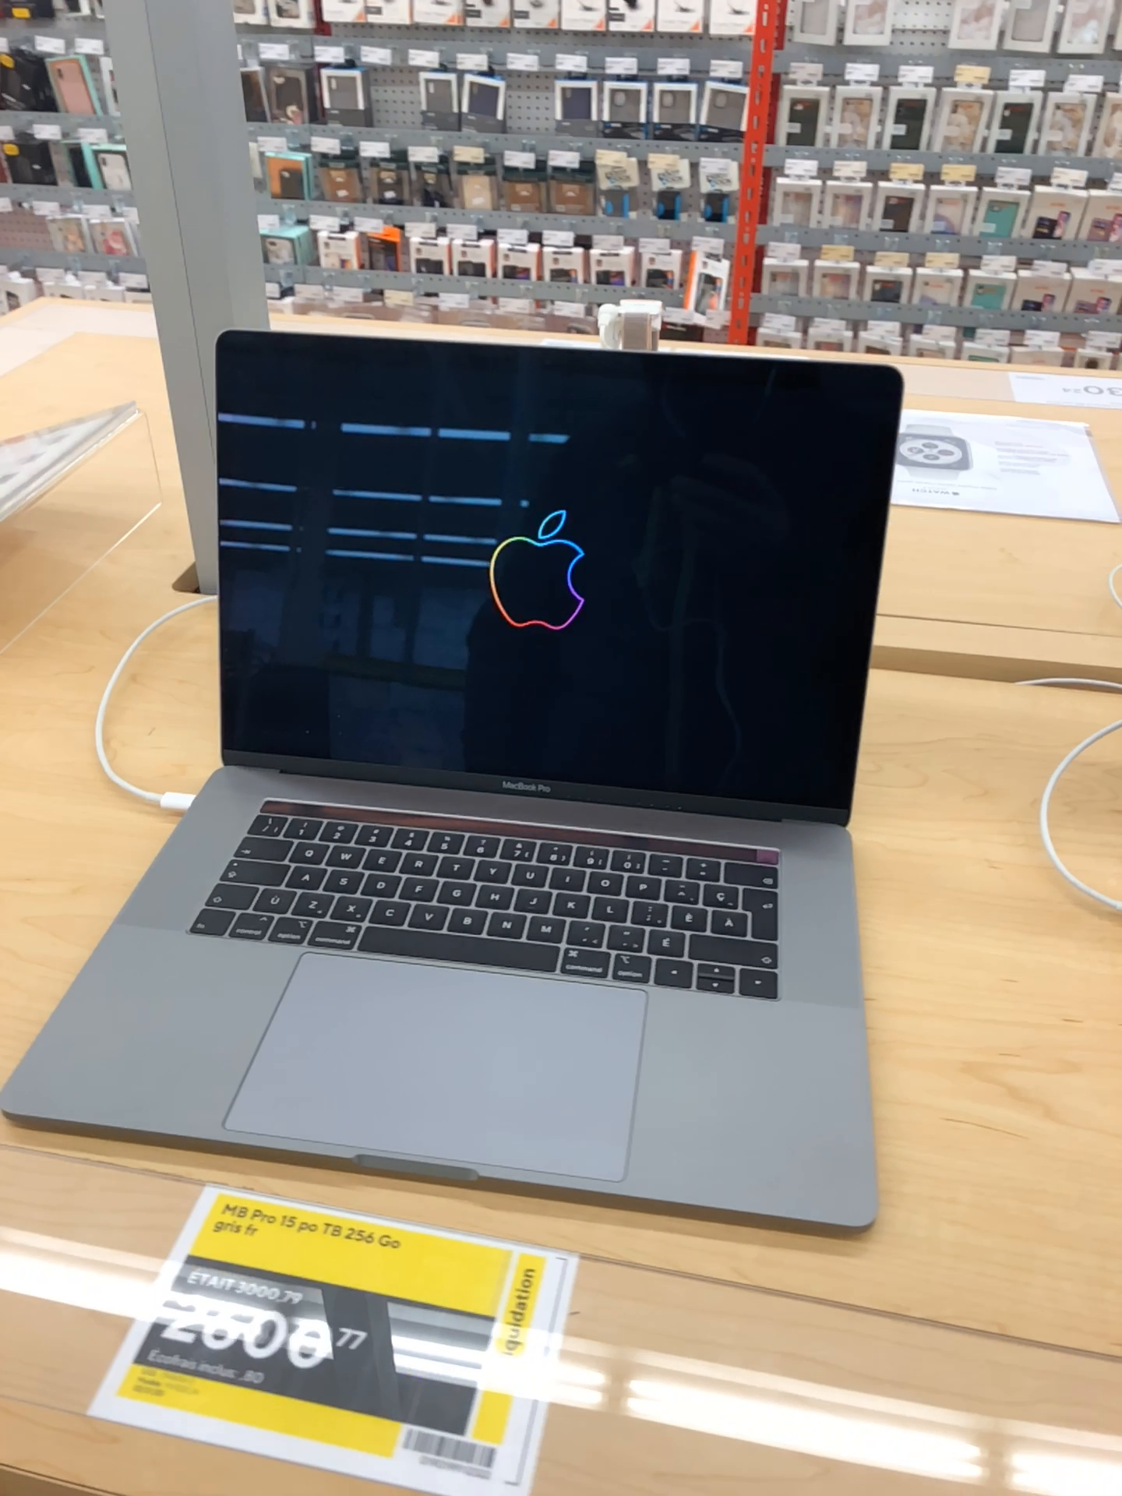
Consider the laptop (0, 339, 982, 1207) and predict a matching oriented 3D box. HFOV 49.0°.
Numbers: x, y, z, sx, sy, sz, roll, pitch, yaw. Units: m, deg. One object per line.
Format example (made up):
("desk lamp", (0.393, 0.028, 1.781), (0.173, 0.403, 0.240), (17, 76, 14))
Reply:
("laptop", (-0.028, -0.016, 0.526), (0.329, 0.212, 0.299), (5, 35, 6))
